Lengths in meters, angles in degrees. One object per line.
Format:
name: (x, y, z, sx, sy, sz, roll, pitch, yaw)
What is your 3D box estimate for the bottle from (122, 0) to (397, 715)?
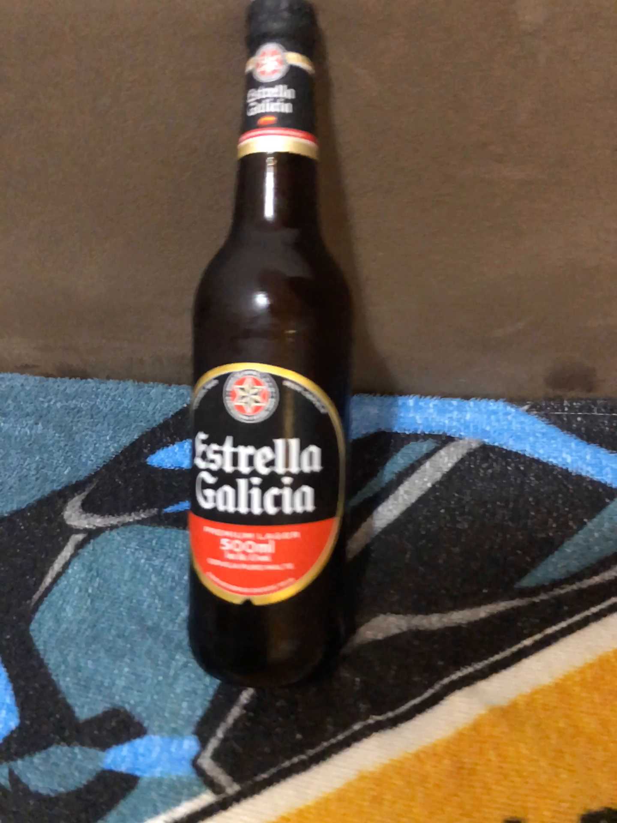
bottle: (-0.016, -0.034, 0.277, 0.080, 0.270, 0.080, 3, 4, 0)
